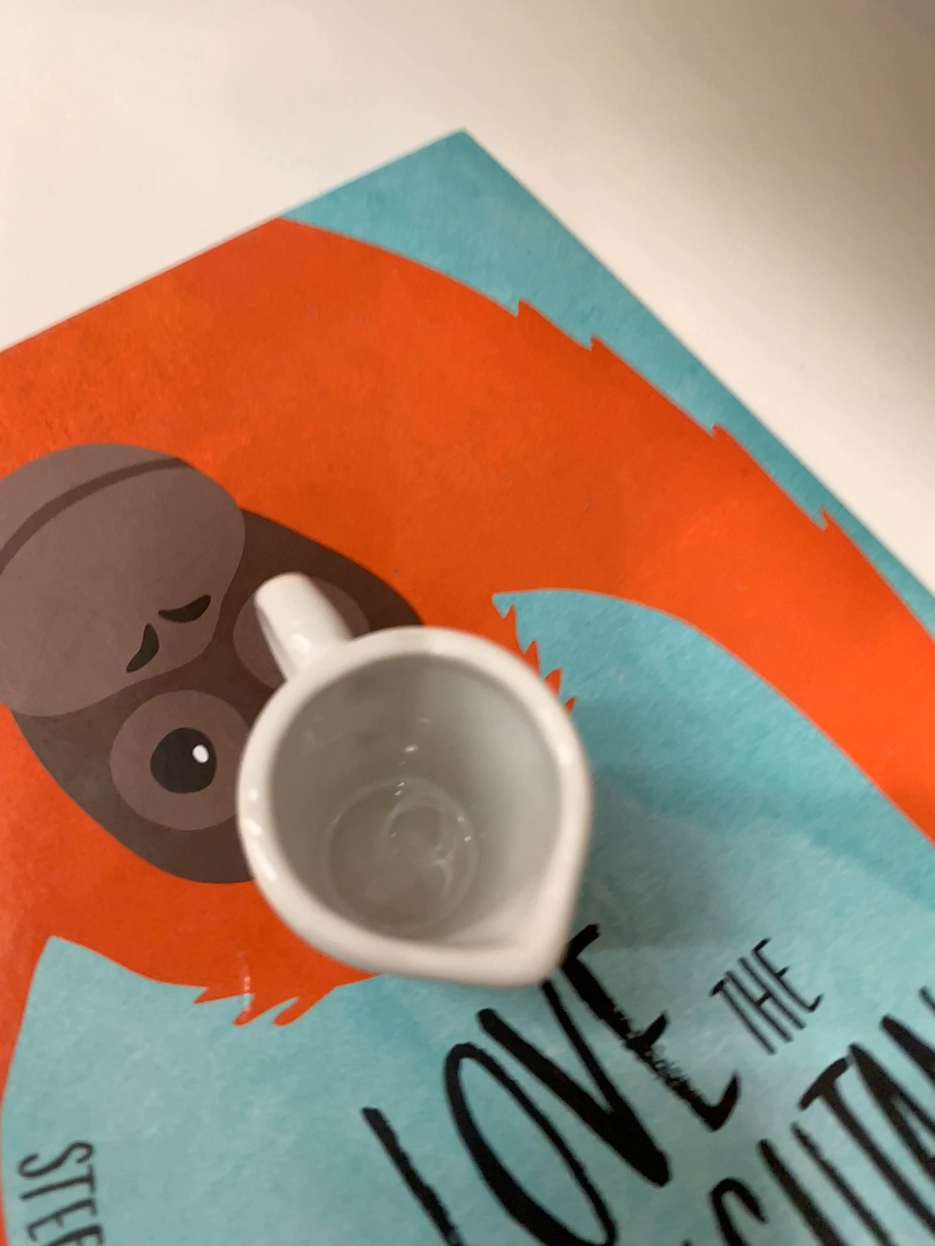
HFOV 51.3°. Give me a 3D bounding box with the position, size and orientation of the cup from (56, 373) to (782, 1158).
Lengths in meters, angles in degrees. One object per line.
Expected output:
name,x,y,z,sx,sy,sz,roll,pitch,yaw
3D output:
cup,-0.009,0.018,0.126,0.050,0.050,0.070,-25,72,-16
